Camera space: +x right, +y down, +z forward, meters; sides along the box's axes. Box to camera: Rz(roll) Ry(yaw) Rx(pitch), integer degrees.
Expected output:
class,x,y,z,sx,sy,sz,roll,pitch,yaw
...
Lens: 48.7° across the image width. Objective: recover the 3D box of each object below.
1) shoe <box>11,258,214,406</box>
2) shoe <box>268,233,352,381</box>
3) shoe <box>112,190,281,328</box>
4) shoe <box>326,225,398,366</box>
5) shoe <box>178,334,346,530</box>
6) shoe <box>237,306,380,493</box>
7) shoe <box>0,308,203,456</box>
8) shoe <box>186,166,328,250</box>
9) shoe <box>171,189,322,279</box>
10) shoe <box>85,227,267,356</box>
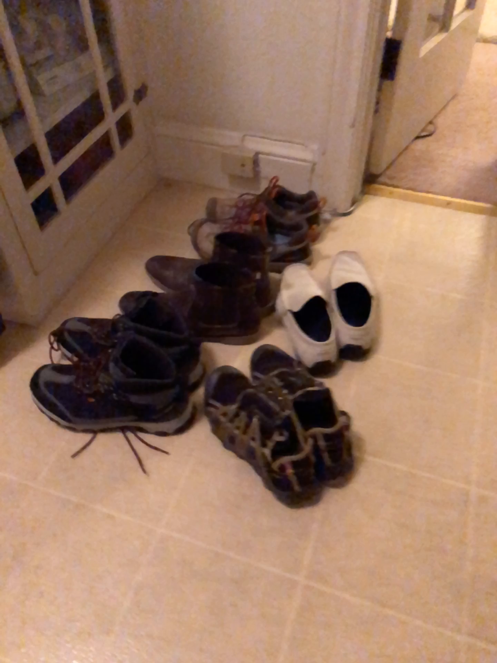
class,x,y,z,sx,sy,sz,roll,pitch,yaw
shoe,-0.240,0.001,1.024,0.323,0.192,0.111,12,49,13
shoe,0.115,-0.059,1.121,0.110,0.112,0.305,-5,47,-3
shoe,-0.104,-0.156,1.169,0.323,0.192,0.111,17,50,16
shoe,0.227,-0.083,1.143,0.110,0.112,0.305,2,47,3
shoe,0.014,0.157,0.916,0.110,0.122,0.294,-29,53,-23
shoe,0.092,0.109,0.963,0.110,0.122,0.294,-19,50,-16
shoe,-0.256,0.087,0.936,0.323,0.192,0.111,8,48,8
shoe,0.022,-0.300,1.325,0.313,0.112,0.111,11,48,11
shoe,-0.003,-0.224,1.249,0.313,0.112,0.111,11,48,11
shoe,-0.133,-0.079,1.100,0.323,0.192,0.111,8,48,9
